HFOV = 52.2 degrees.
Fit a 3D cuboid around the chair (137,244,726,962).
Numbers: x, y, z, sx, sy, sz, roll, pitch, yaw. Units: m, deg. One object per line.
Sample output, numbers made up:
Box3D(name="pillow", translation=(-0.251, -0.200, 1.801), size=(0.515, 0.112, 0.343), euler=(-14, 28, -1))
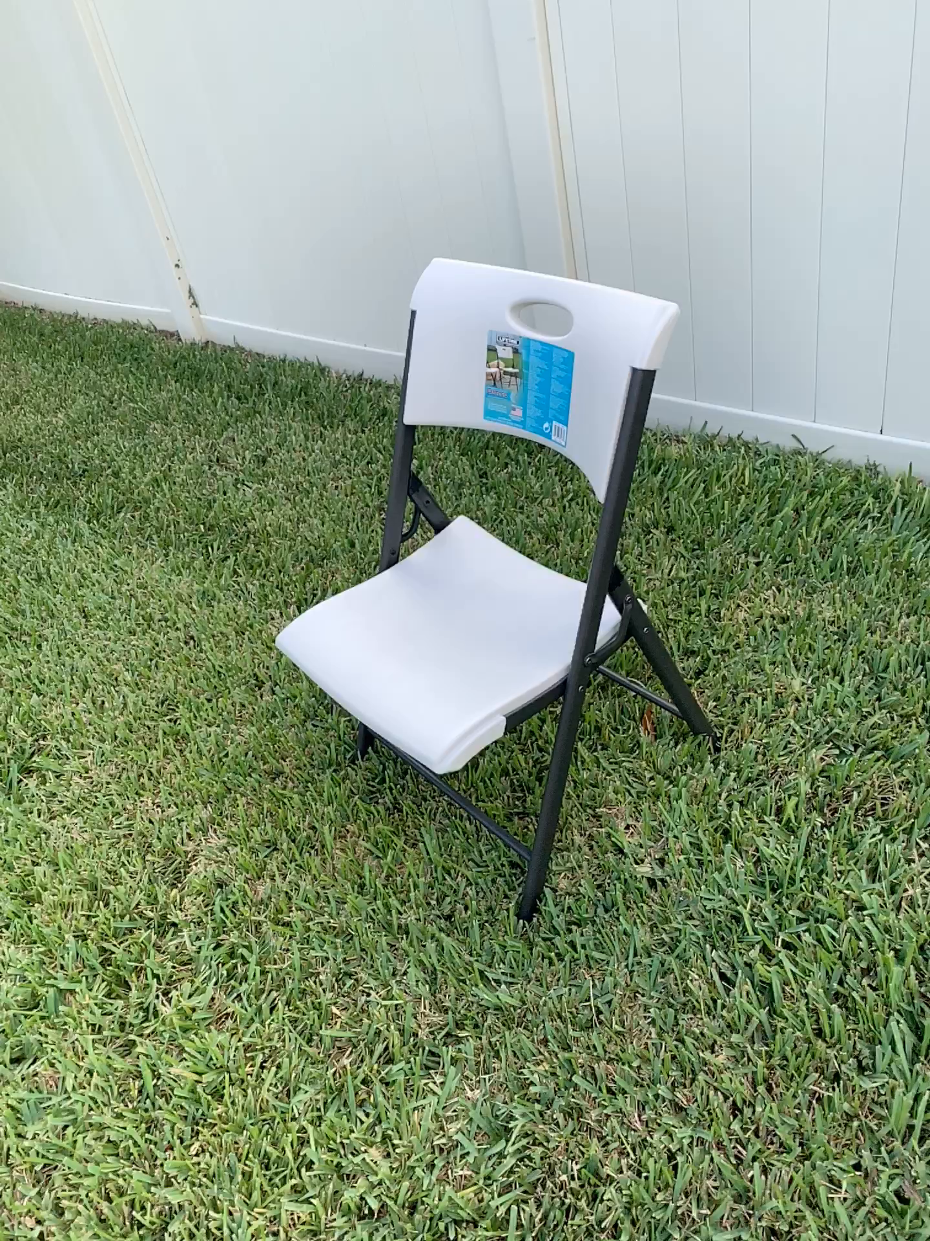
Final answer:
Box3D(name="chair", translation=(-0.002, -0.053, 1.390), size=(0.516, 0.765, 0.522), euler=(-33, 40, -26))
